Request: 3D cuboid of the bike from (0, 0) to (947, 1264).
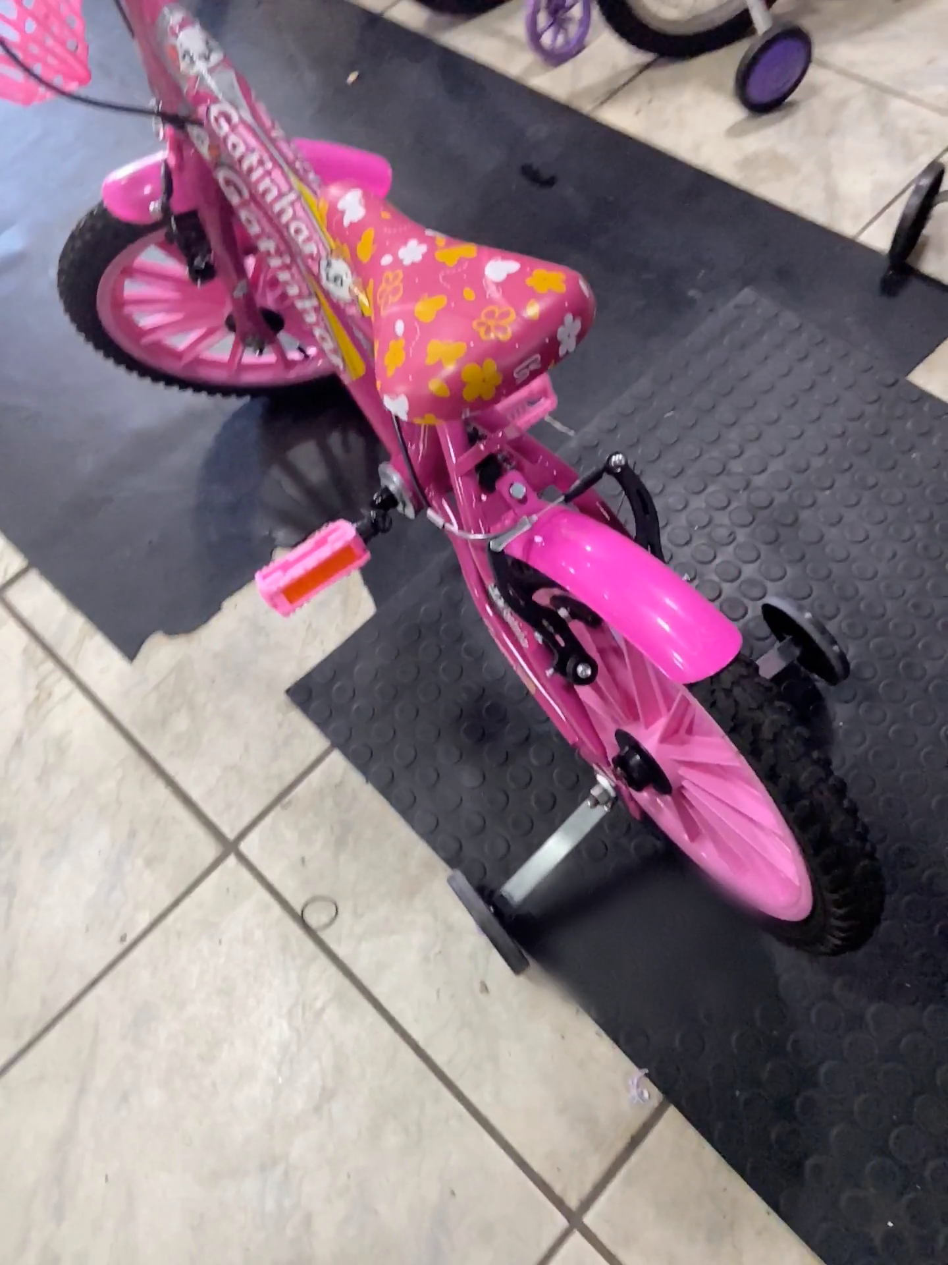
[{"bbox_3d":[-0.105,-0.157,0.691,0.466,0.790,0.940,-43,63,-15],"label":"bike"}]
